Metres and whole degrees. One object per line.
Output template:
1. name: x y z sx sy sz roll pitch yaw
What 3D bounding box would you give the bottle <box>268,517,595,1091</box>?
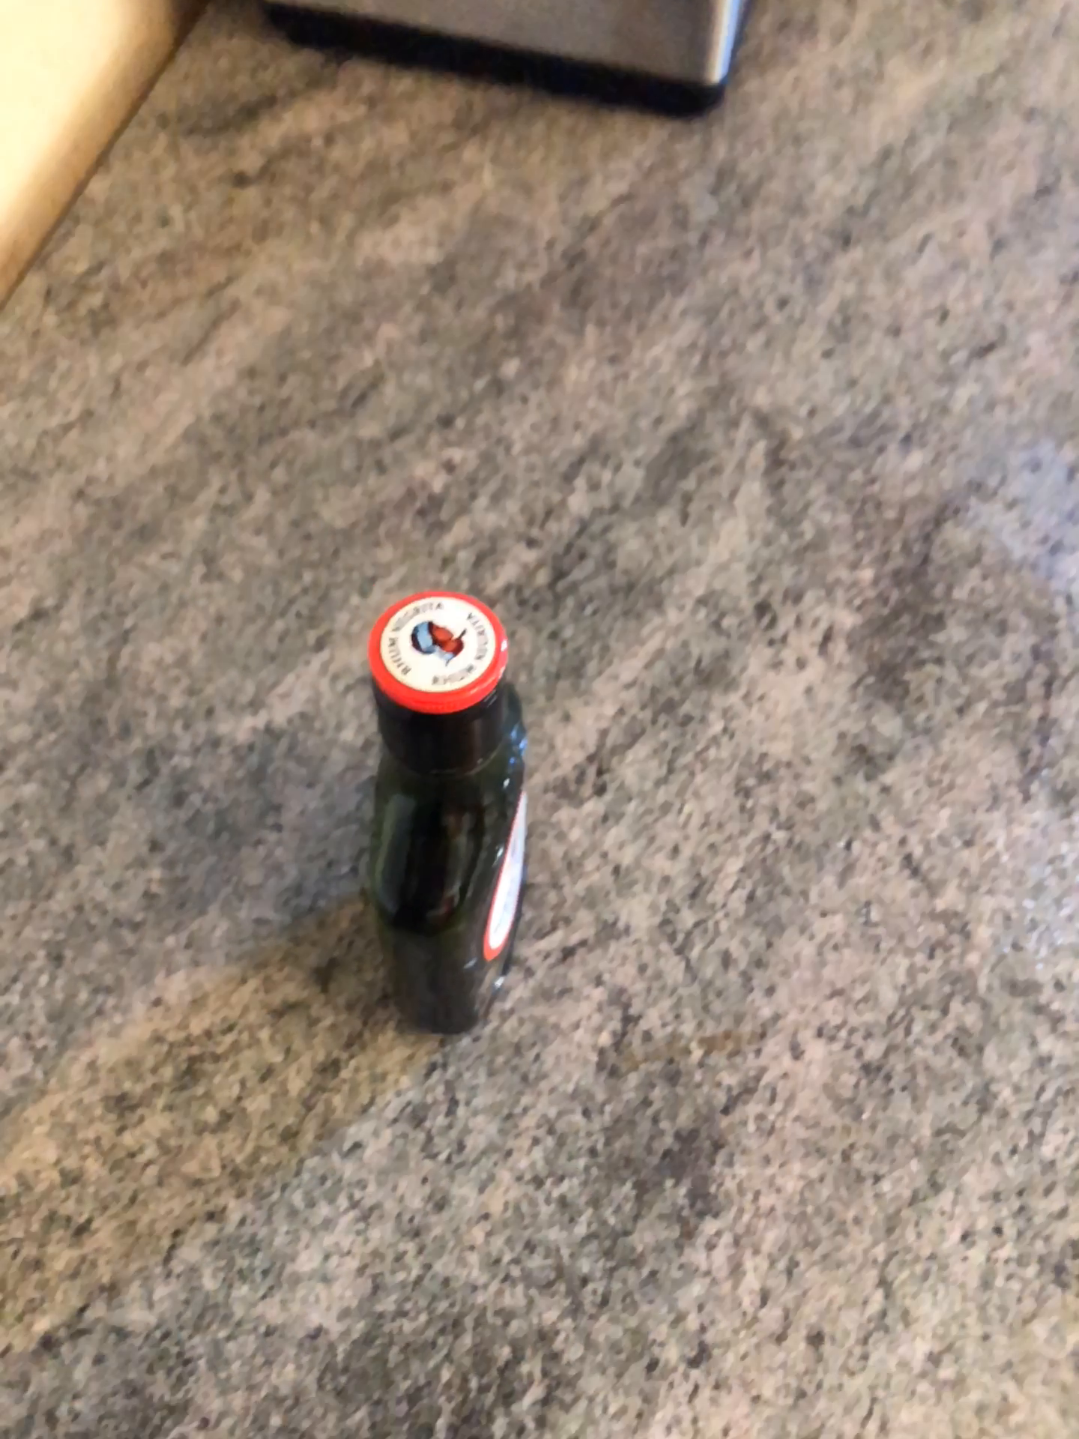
1. bottle: -0.021 0.033 0.319 0.050 0.159 0.080 10 59 5
